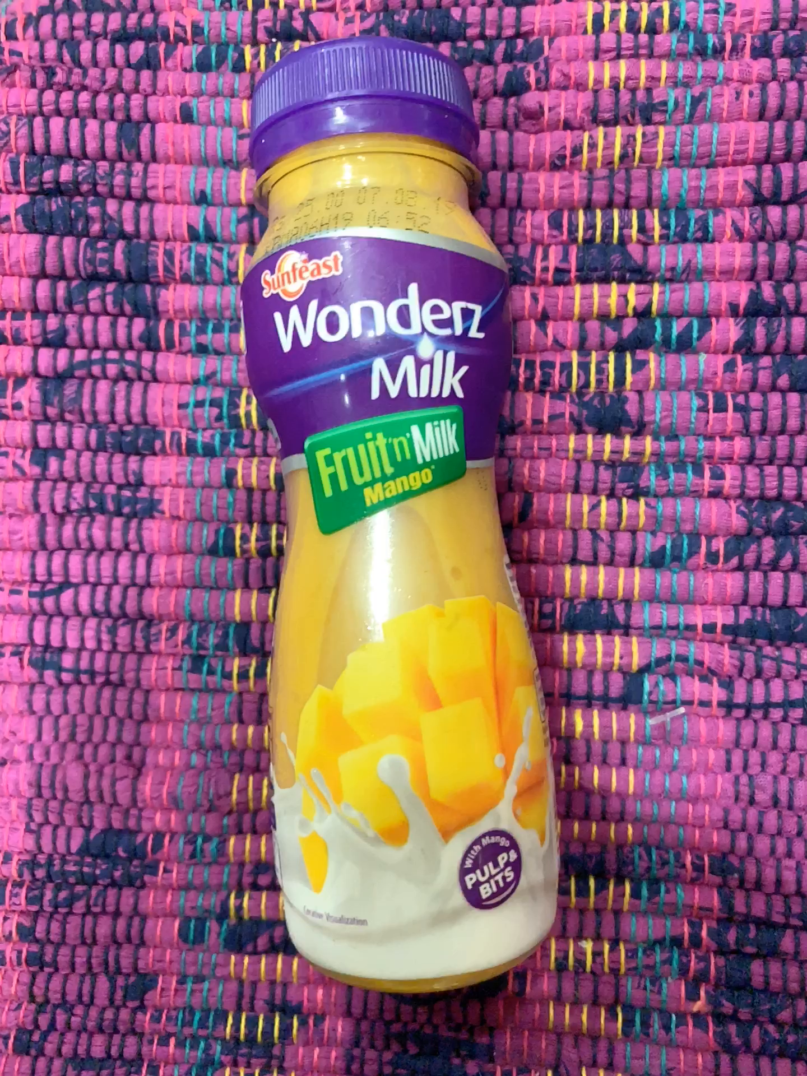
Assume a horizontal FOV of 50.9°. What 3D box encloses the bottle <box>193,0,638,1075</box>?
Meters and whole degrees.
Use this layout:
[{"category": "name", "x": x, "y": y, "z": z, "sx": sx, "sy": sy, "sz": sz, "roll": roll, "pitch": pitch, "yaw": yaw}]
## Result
[{"category": "bottle", "x": 0.002, "y": 0.000, "z": 0.140, "sx": 0.050, "sy": 0.040, "sz": 0.150, "roll": -5, "pitch": 88, "yaw": 3}]
